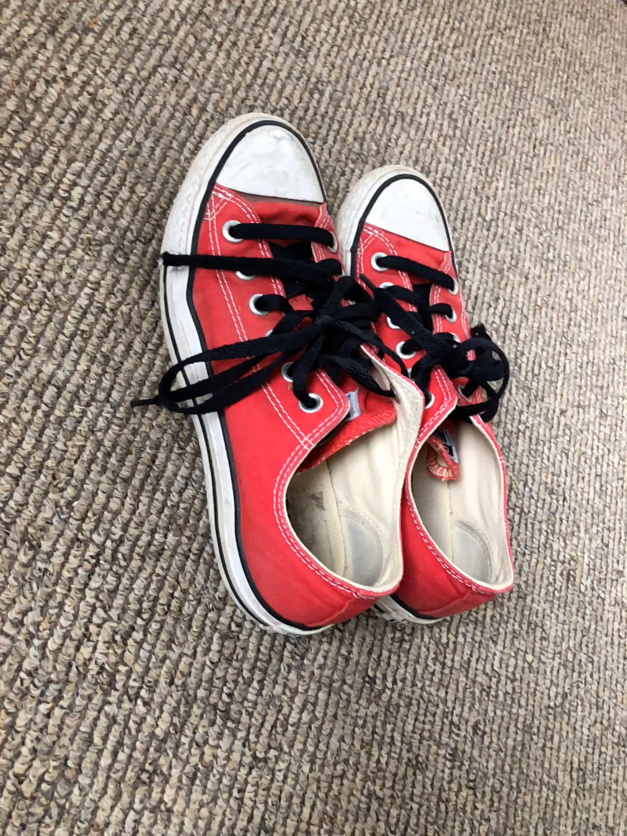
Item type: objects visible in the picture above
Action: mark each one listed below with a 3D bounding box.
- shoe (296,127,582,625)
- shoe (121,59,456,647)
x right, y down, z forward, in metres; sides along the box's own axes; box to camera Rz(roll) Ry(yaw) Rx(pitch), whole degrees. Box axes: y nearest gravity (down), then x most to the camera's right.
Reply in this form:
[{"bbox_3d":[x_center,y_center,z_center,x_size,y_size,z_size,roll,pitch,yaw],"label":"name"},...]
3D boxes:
[{"bbox_3d":[0.065,-0.019,0.406,0.103,0.088,0.258,6,71,-34],"label":"shoe"},{"bbox_3d":[-0.022,-0.027,0.359,0.103,0.096,0.262,0,75,-35],"label":"shoe"}]
